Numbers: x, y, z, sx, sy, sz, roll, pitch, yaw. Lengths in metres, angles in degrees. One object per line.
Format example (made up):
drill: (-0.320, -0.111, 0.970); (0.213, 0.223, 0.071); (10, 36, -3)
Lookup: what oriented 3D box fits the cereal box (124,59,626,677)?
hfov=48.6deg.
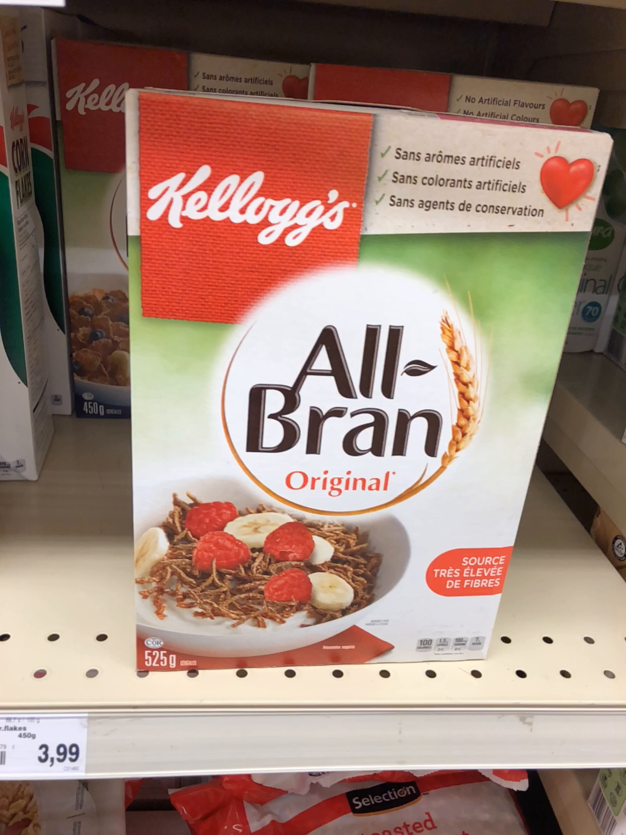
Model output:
cereal box: (0.014, -0.009, 0.337); (0.190, 0.278, 0.071); (1, 26, -10)
